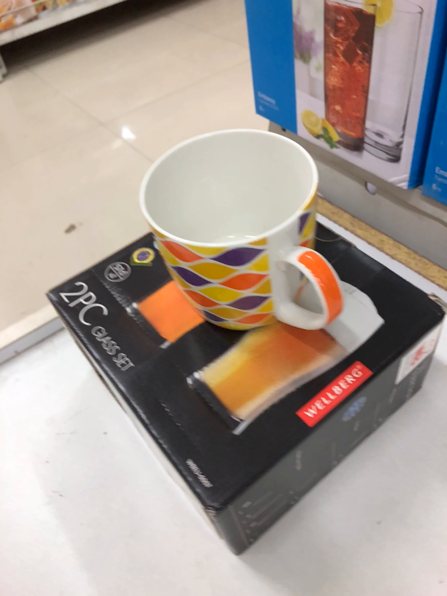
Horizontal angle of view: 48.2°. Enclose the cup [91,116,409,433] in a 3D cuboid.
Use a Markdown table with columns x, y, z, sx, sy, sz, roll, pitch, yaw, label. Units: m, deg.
| x | y | z | sx | sy | sz | roll | pitch | yaw | label |
| --- | --- | --- | --- | --- | --- | --- | --- | --- | --- |
| 0.012 | -0.020 | 0.271 | 0.090 | 0.089 | 0.130 | -34 | 50 | -20 | cup |
